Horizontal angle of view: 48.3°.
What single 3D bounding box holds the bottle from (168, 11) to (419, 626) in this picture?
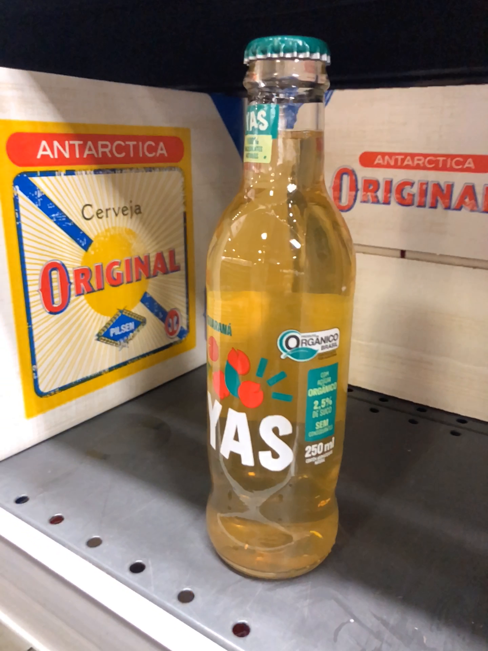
[{"bbox_3d":[0.018,0.001,0.208,0.060,0.199,0.060,0,18,0],"label":"bottle"}]
